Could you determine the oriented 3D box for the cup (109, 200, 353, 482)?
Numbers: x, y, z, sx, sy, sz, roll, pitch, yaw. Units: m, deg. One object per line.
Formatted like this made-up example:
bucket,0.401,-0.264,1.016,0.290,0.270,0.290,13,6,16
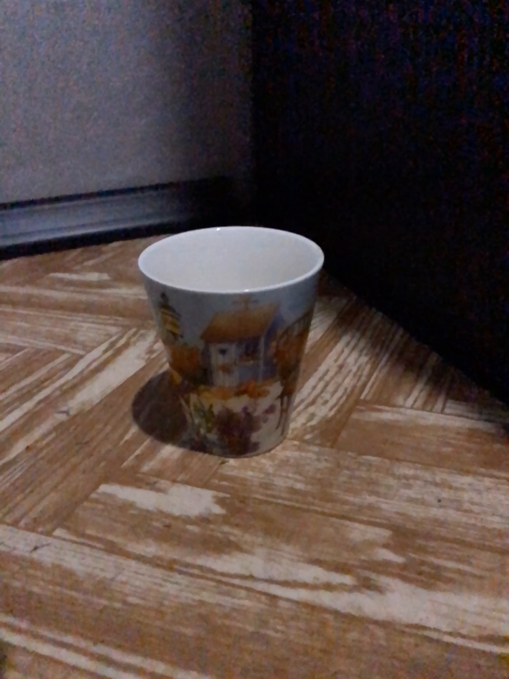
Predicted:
cup,-0.018,-0.010,0.302,0.087,0.092,0.121,-12,30,-18
